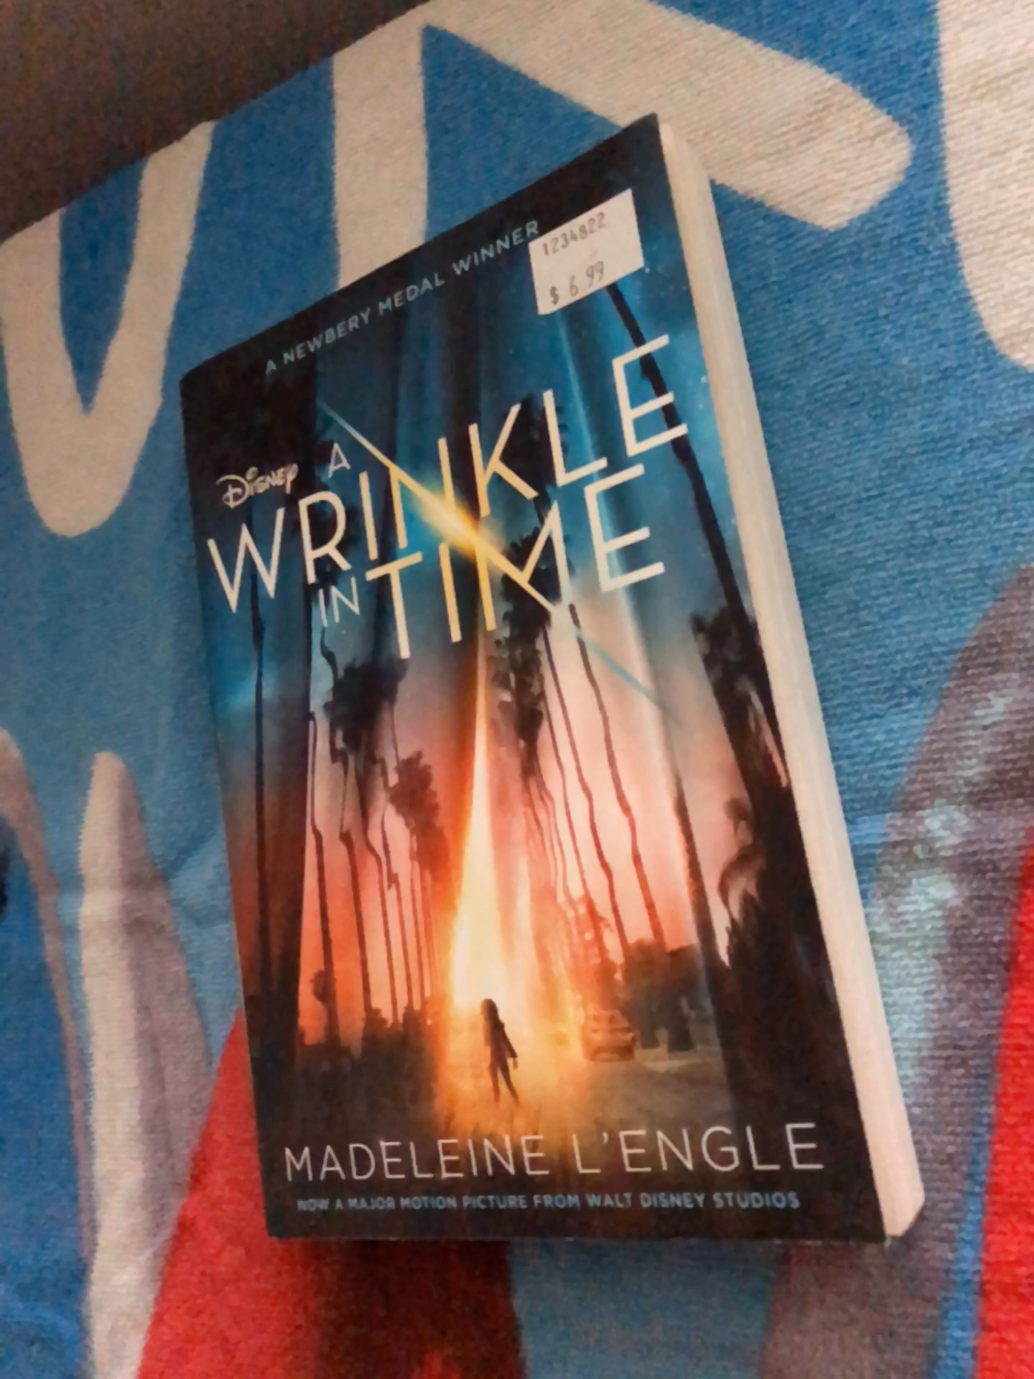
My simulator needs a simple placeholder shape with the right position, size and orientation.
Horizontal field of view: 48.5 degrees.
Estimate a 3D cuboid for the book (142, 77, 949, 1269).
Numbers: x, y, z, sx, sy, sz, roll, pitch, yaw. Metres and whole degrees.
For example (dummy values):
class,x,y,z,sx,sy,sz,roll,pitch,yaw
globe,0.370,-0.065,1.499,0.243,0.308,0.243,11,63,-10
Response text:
class,x,y,z,sx,sy,sz,roll,pitch,yaw
book,-0.008,0.005,0.232,0.138,0.031,0.195,-15,79,32
